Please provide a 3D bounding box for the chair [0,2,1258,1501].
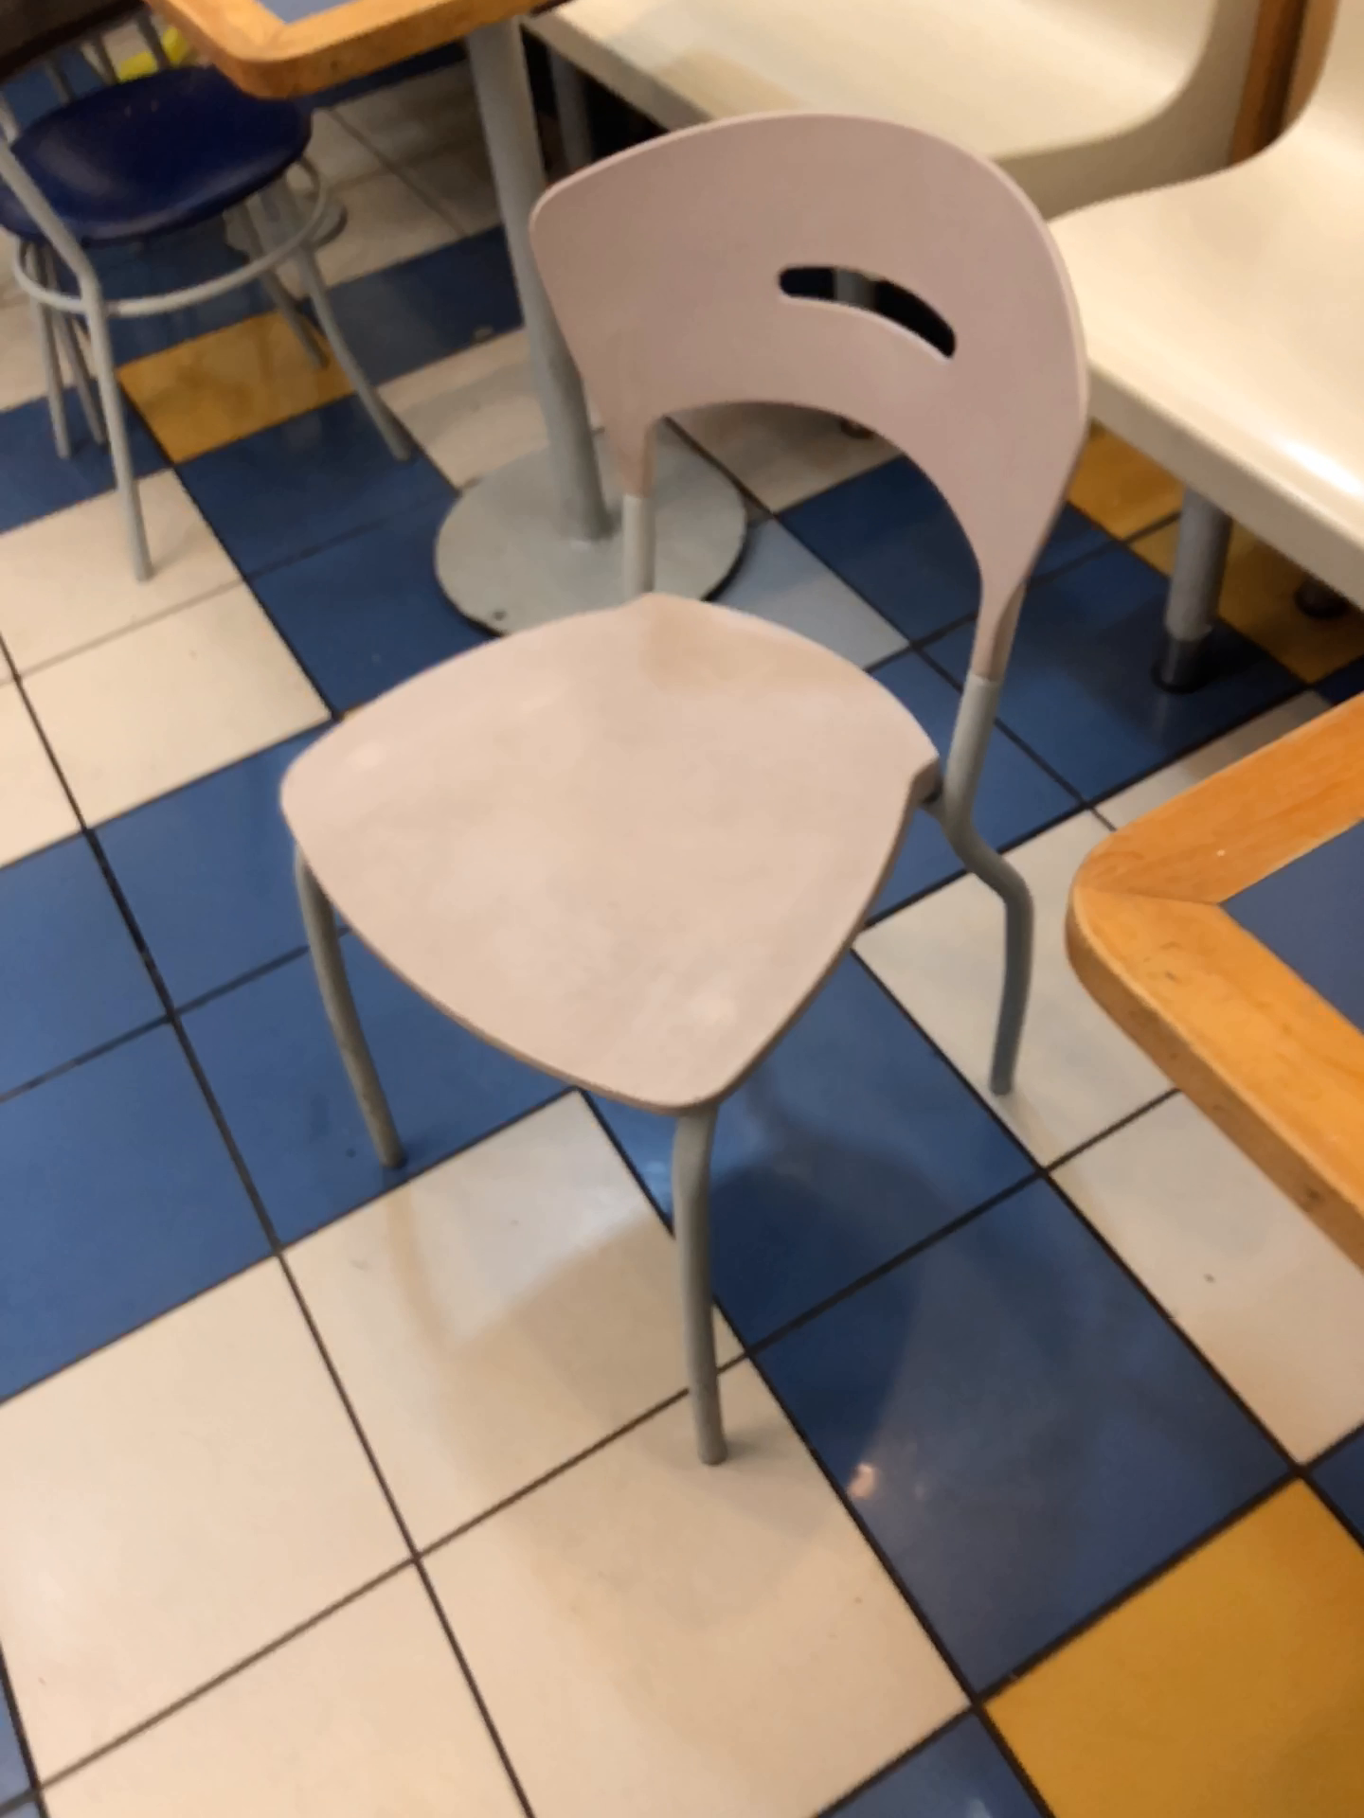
[{"bbox_3d":[-0.017,-0.056,1.035,0.471,0.795,0.452,-40,57,-23],"label":"chair"}]
